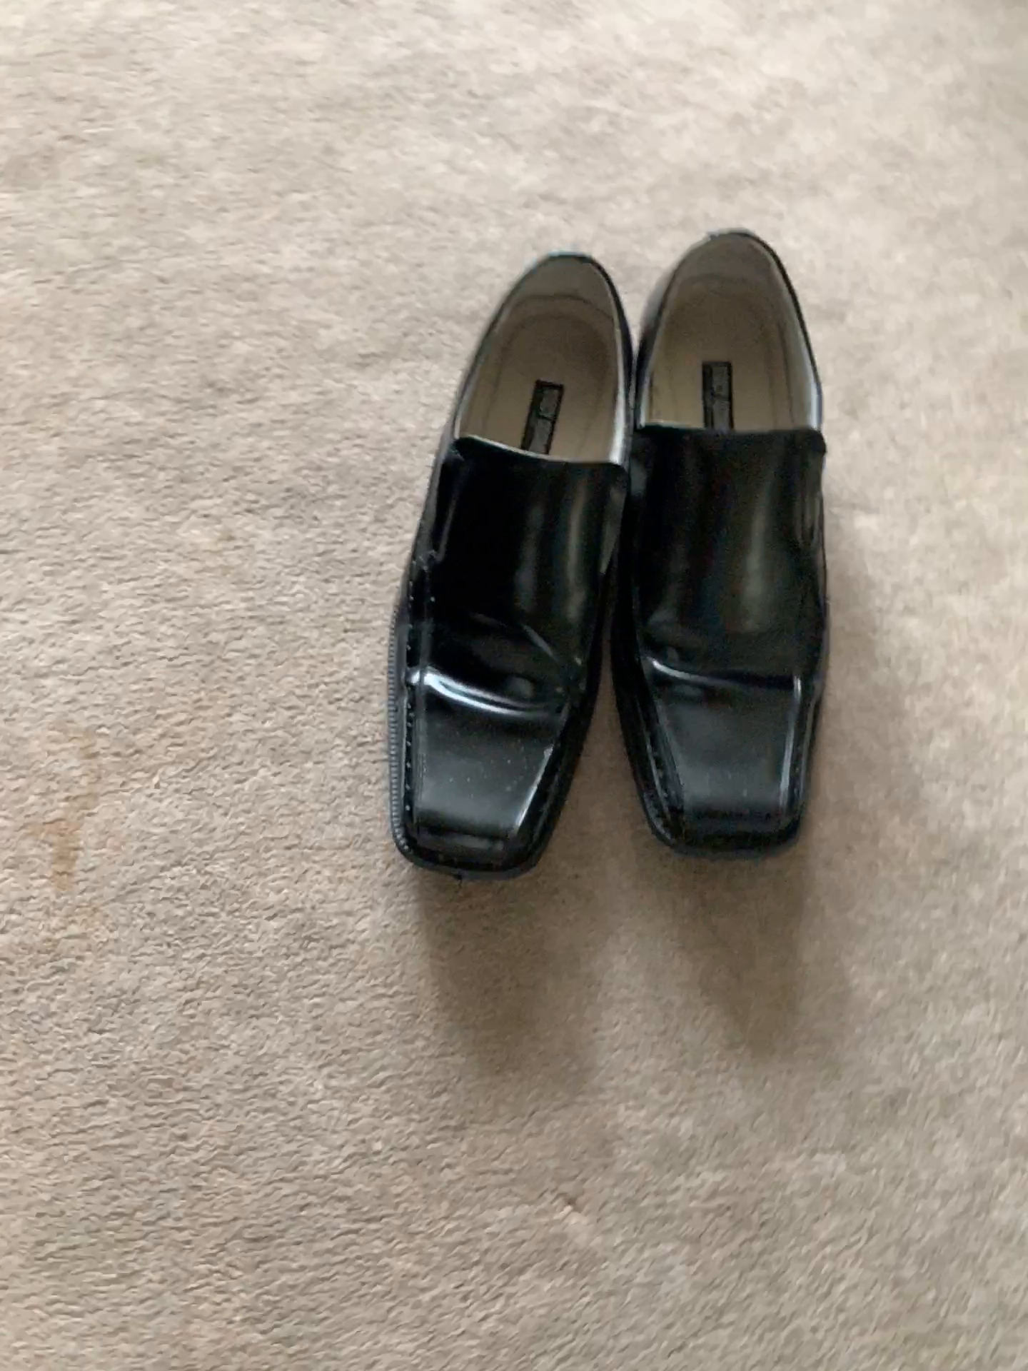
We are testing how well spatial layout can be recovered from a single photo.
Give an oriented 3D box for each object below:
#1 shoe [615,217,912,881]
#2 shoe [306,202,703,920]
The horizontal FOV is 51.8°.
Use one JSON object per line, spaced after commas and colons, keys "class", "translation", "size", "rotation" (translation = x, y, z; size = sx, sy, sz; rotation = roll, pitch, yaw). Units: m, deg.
{"class": "shoe", "translation": [0.115, -0.067, 0.541], "size": [0.110, 0.120, 0.311], "rotation": [3, 72, 0]}
{"class": "shoe", "translation": [0.004, -0.060, 0.528], "size": [0.110, 0.120, 0.321], "rotation": [12, 72, 3]}
